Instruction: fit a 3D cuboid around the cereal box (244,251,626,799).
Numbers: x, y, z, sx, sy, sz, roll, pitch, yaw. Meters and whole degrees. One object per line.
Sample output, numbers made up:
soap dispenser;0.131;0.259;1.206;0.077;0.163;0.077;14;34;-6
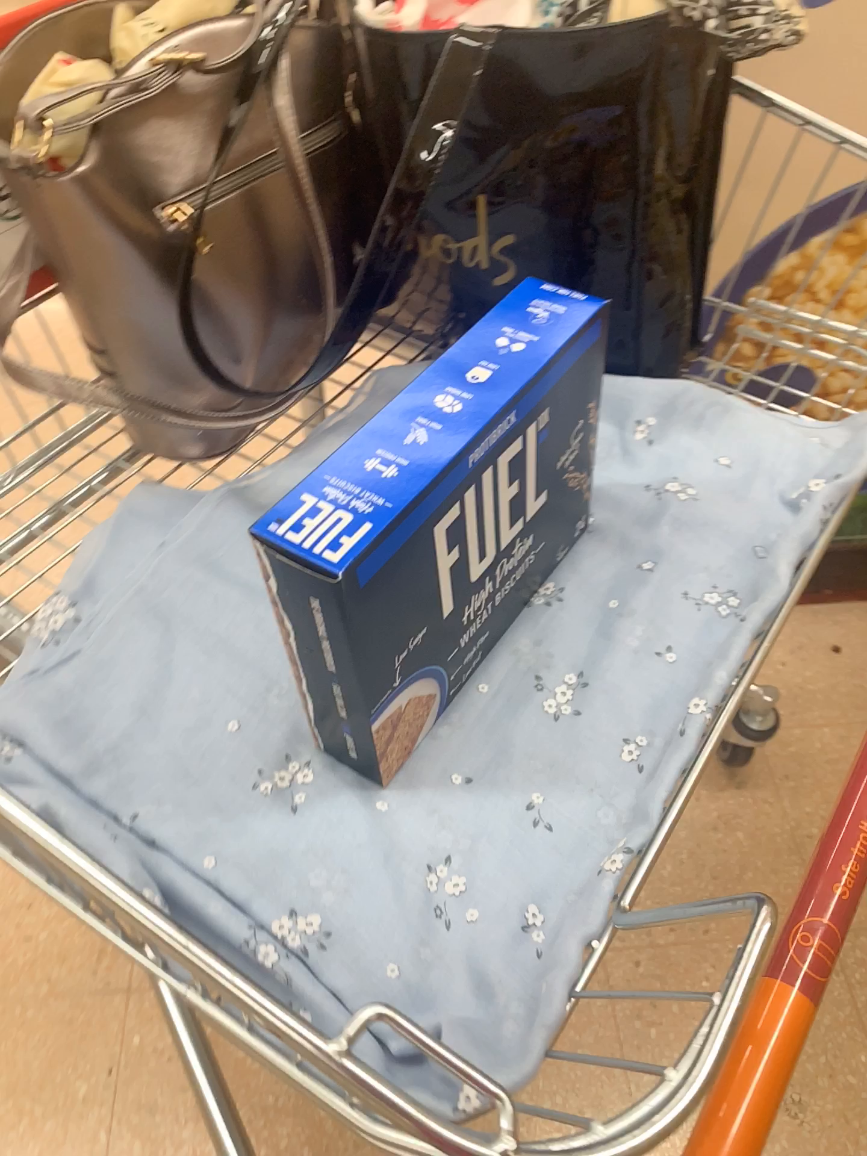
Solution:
cereal box;0.014;-0.031;0.518;0.060;0.208;0.251;27;54;22
